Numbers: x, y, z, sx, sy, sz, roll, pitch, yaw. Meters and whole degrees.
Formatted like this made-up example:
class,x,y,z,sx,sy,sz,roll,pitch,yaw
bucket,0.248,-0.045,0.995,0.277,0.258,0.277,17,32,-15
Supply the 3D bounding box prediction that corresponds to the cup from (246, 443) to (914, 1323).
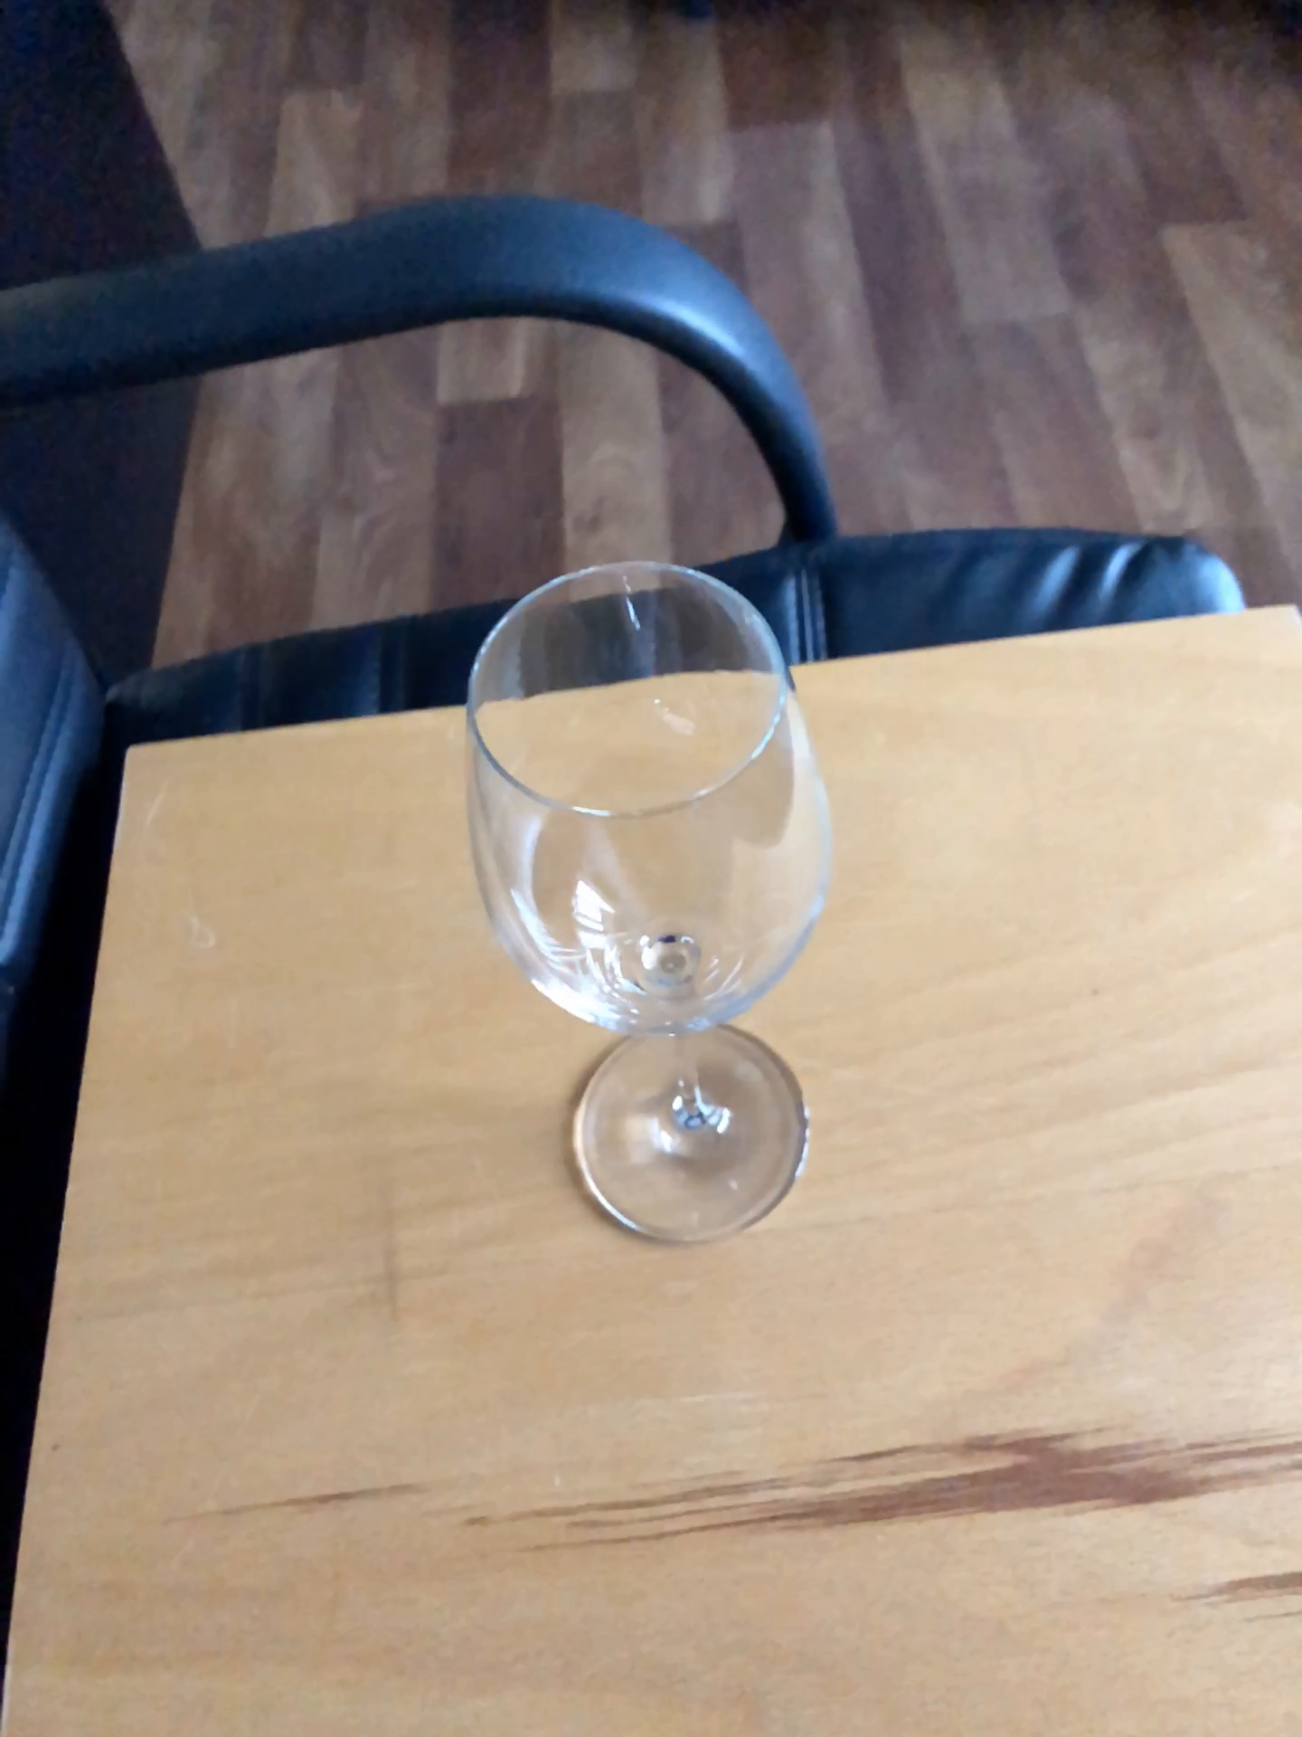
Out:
class,x,y,z,sx,sy,sz,roll,pitch,yaw
cup,-0.003,0.022,0.349,0.089,0.218,0.090,-2,58,3
